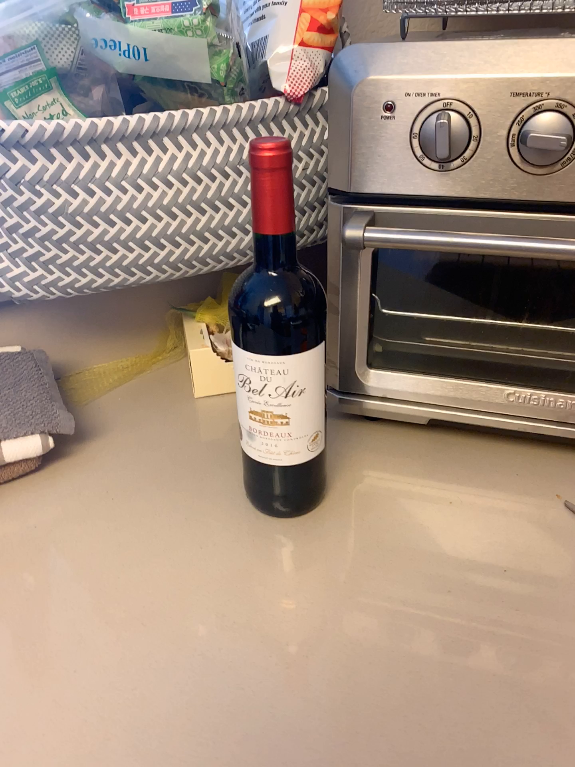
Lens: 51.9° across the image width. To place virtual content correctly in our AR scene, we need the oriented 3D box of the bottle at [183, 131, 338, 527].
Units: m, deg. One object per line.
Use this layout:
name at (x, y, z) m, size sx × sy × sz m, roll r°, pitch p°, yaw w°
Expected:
bottle at (-0.009, -0.031, 0.452) m, size 0.080 × 0.288 × 0.080 m, roll -2°, pitch 31°, yaw 1°
